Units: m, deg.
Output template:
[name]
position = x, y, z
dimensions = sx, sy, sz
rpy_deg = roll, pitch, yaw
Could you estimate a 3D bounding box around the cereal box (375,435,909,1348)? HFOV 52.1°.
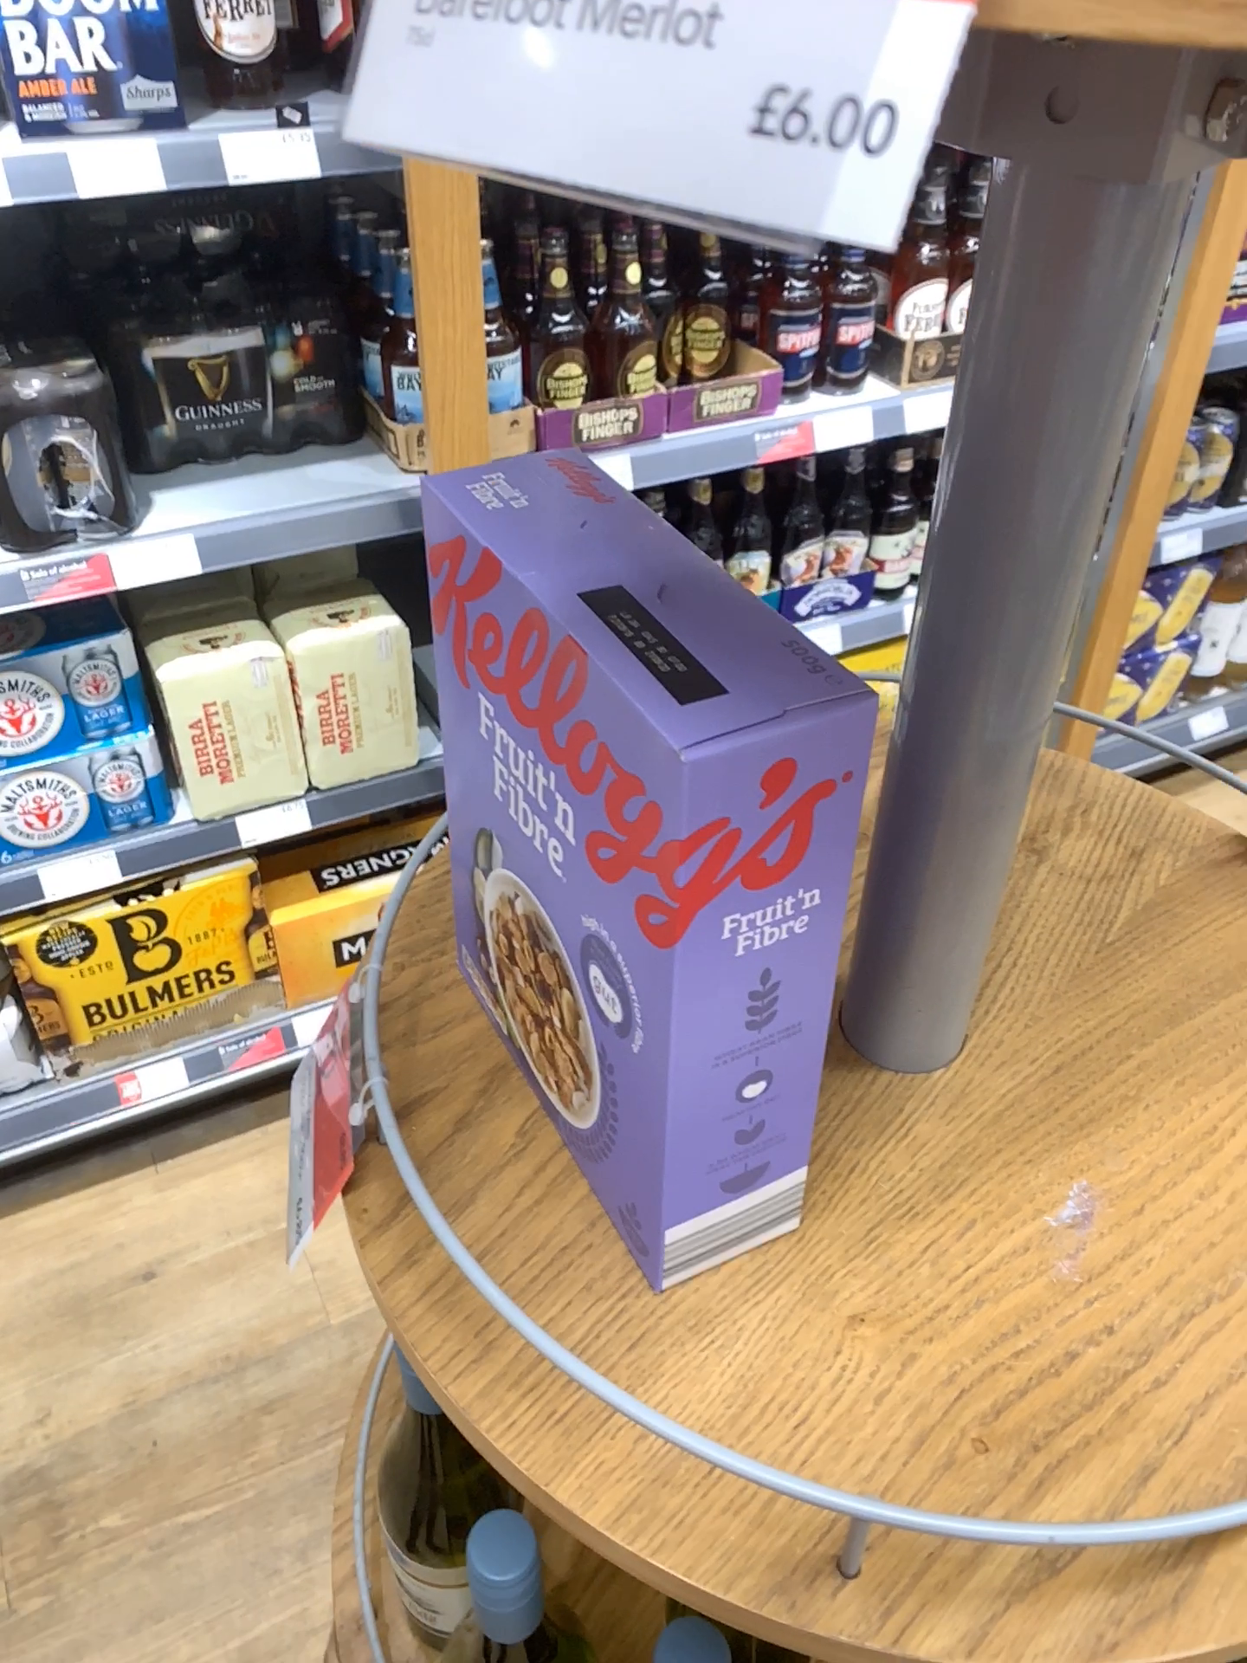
[cereal box]
position = -0.010, 0.018, 0.447
dimensions = 0.070, 0.238, 0.202
rpy_deg = -17, 42, -22
